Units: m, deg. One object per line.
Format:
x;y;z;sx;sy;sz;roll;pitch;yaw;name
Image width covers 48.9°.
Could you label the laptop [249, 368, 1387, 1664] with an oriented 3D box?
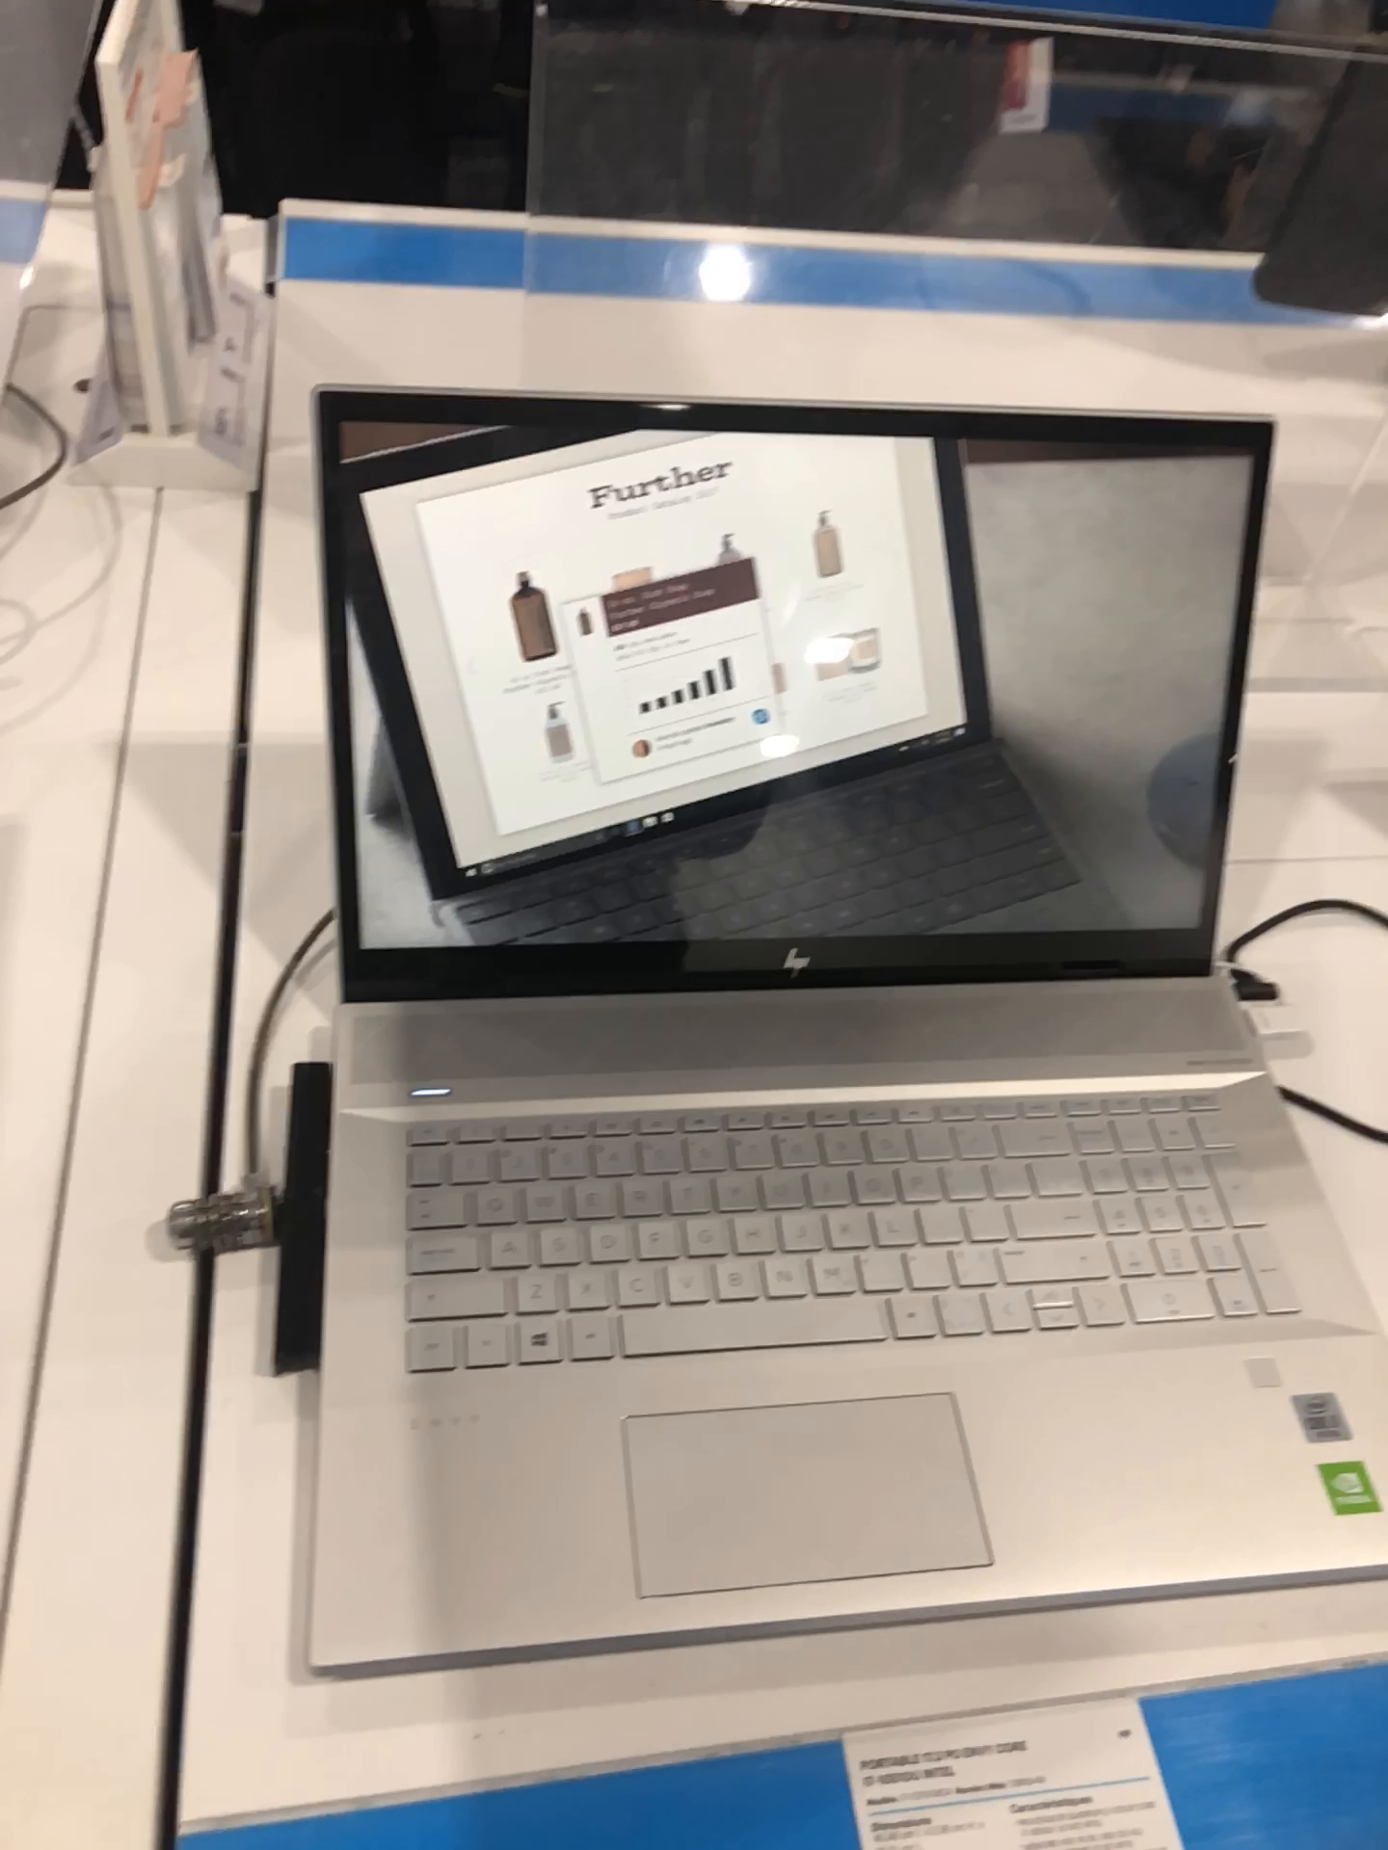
0.062;0.004;0.554;0.390;0.199;0.399;-1;48;-10;laptop
